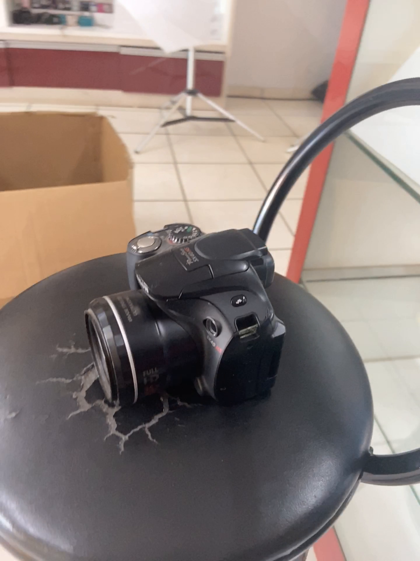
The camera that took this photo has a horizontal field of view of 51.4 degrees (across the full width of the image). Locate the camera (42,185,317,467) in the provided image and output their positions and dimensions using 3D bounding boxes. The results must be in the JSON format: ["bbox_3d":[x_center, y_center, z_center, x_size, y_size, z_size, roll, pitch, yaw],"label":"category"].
[{"bbox_3d":[-0.025,0.016,0.270,0.110,0.089,0.120,-17,42,-26],"label":"camera"}]
